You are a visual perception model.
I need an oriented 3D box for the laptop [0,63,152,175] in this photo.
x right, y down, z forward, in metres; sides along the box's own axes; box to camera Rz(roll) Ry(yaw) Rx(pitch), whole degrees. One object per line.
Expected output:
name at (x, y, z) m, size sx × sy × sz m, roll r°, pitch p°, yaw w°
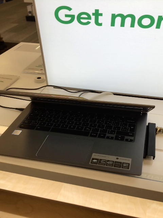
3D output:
laptop at (-0.028, 0.004, 0.515) m, size 0.338 × 0.147 × 0.223 m, roll 7°, pitch 39°, yaw 15°
